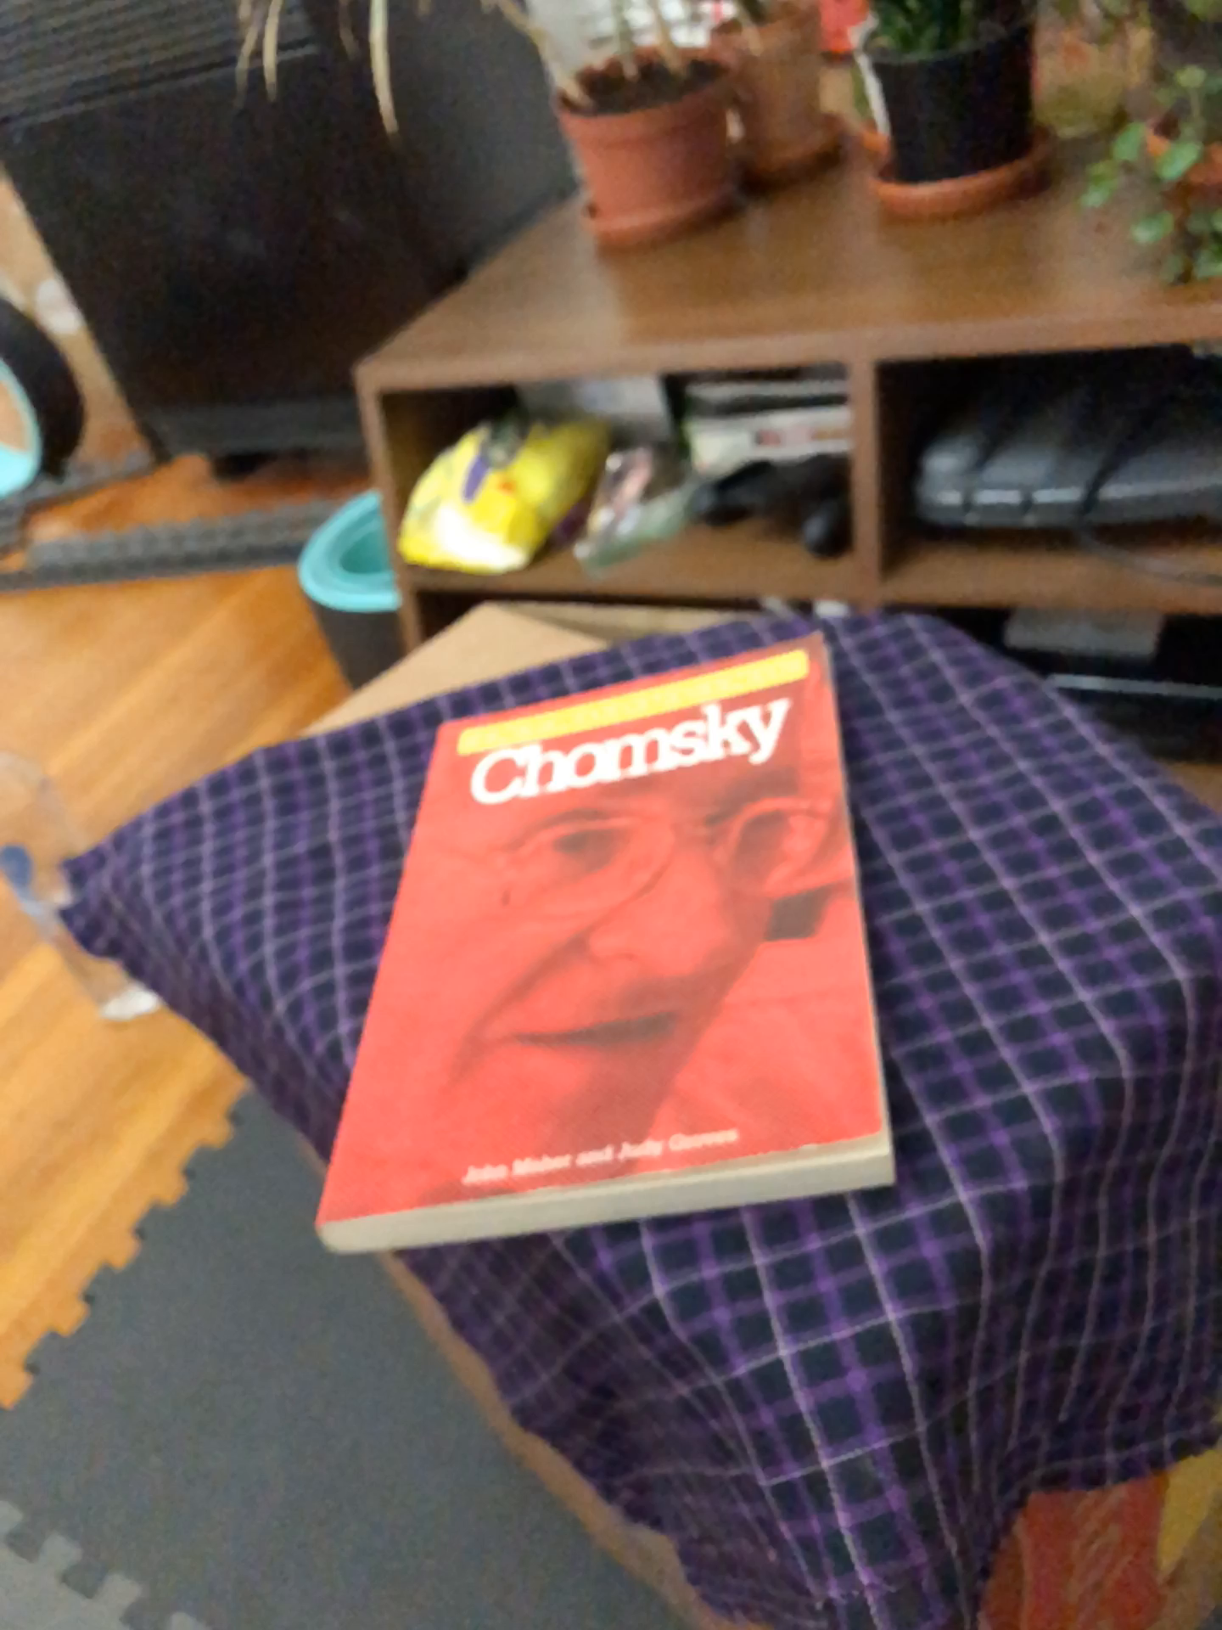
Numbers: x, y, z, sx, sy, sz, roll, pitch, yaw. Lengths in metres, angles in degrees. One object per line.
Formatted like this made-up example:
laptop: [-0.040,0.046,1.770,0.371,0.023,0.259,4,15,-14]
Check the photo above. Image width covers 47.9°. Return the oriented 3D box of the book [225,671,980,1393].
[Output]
book: [0.000,0.048,0.419,0.180,0.020,0.241,-11,37,12]
